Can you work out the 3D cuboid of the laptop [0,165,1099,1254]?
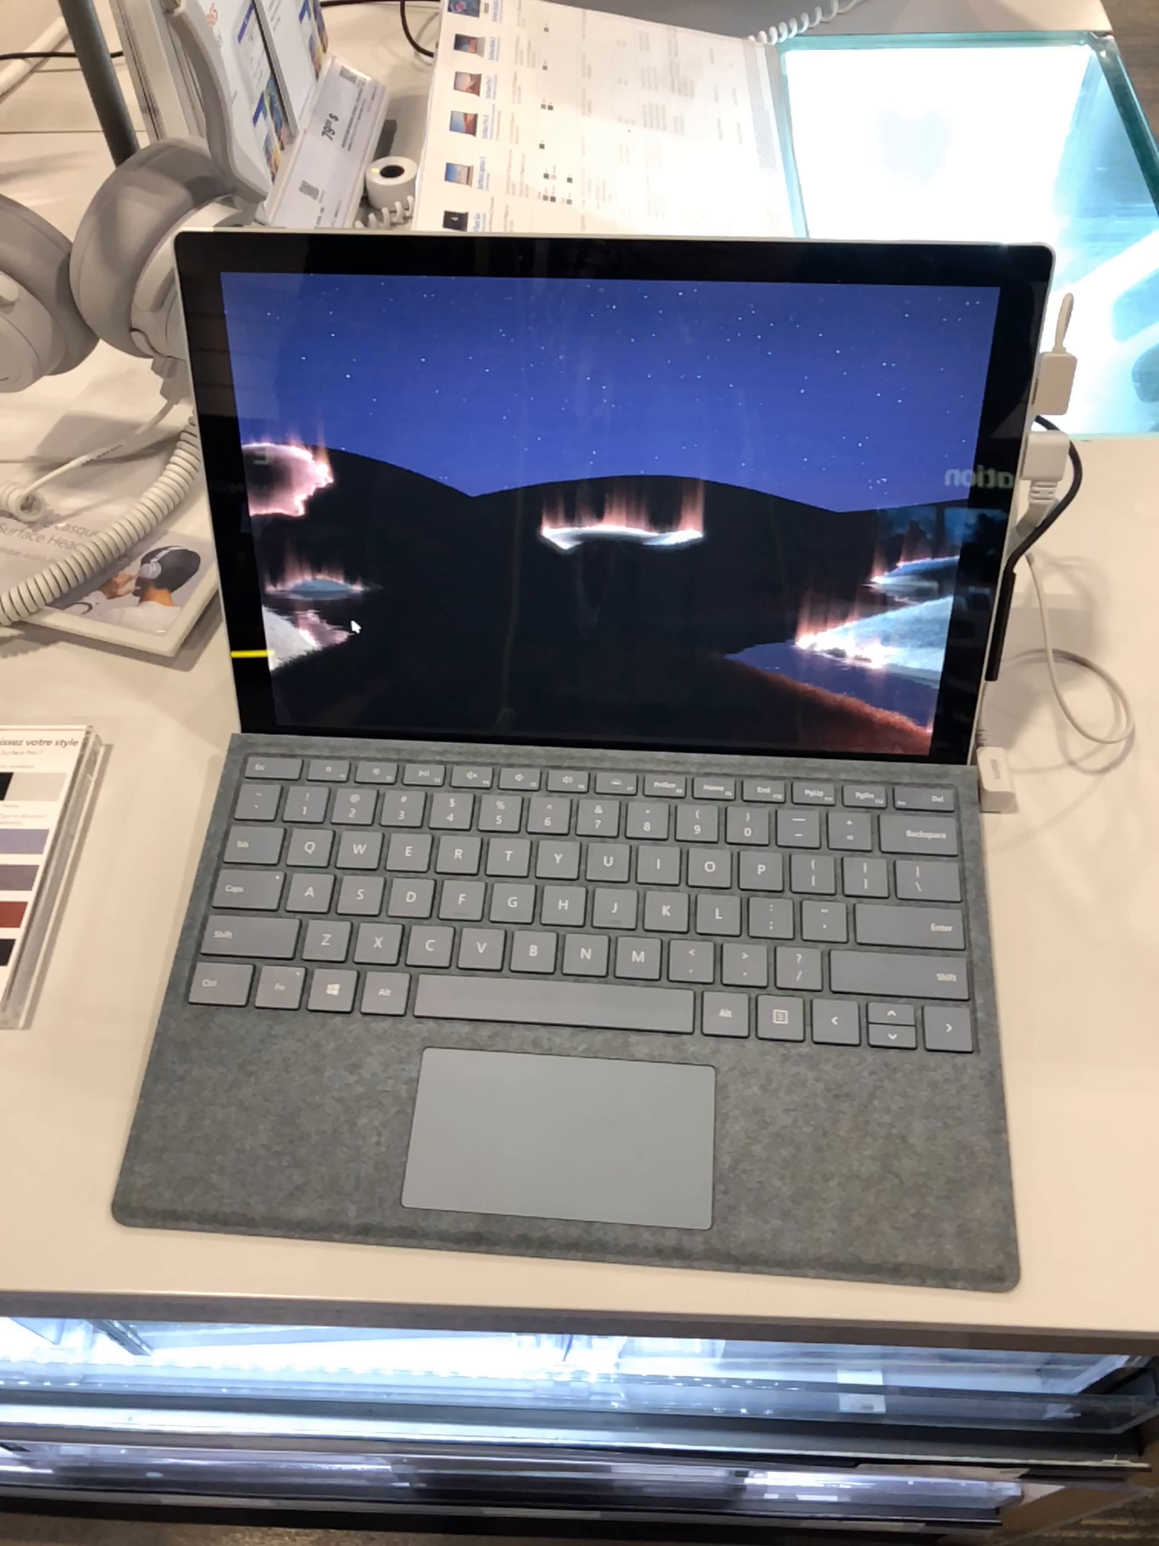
[{"bbox_3d":[-0.002,-0.022,0.405,0.261,0.143,0.284,2,60,8],"label":"laptop"}]
